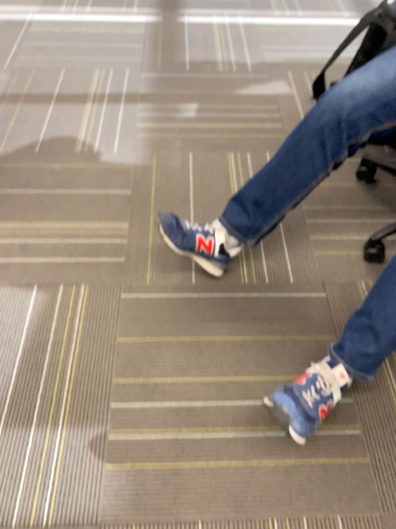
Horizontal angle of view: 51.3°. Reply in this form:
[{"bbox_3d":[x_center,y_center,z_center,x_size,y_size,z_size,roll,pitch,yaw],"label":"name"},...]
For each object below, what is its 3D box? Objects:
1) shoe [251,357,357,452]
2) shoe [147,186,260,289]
[{"bbox_3d":[0.240,0.284,0.887,0.115,0.302,0.096,45,105,27],"label":"shoe"},{"bbox_3d":[0.021,-0.069,1.182,0.136,0.295,0.121,-44,43,16],"label":"shoe"}]
